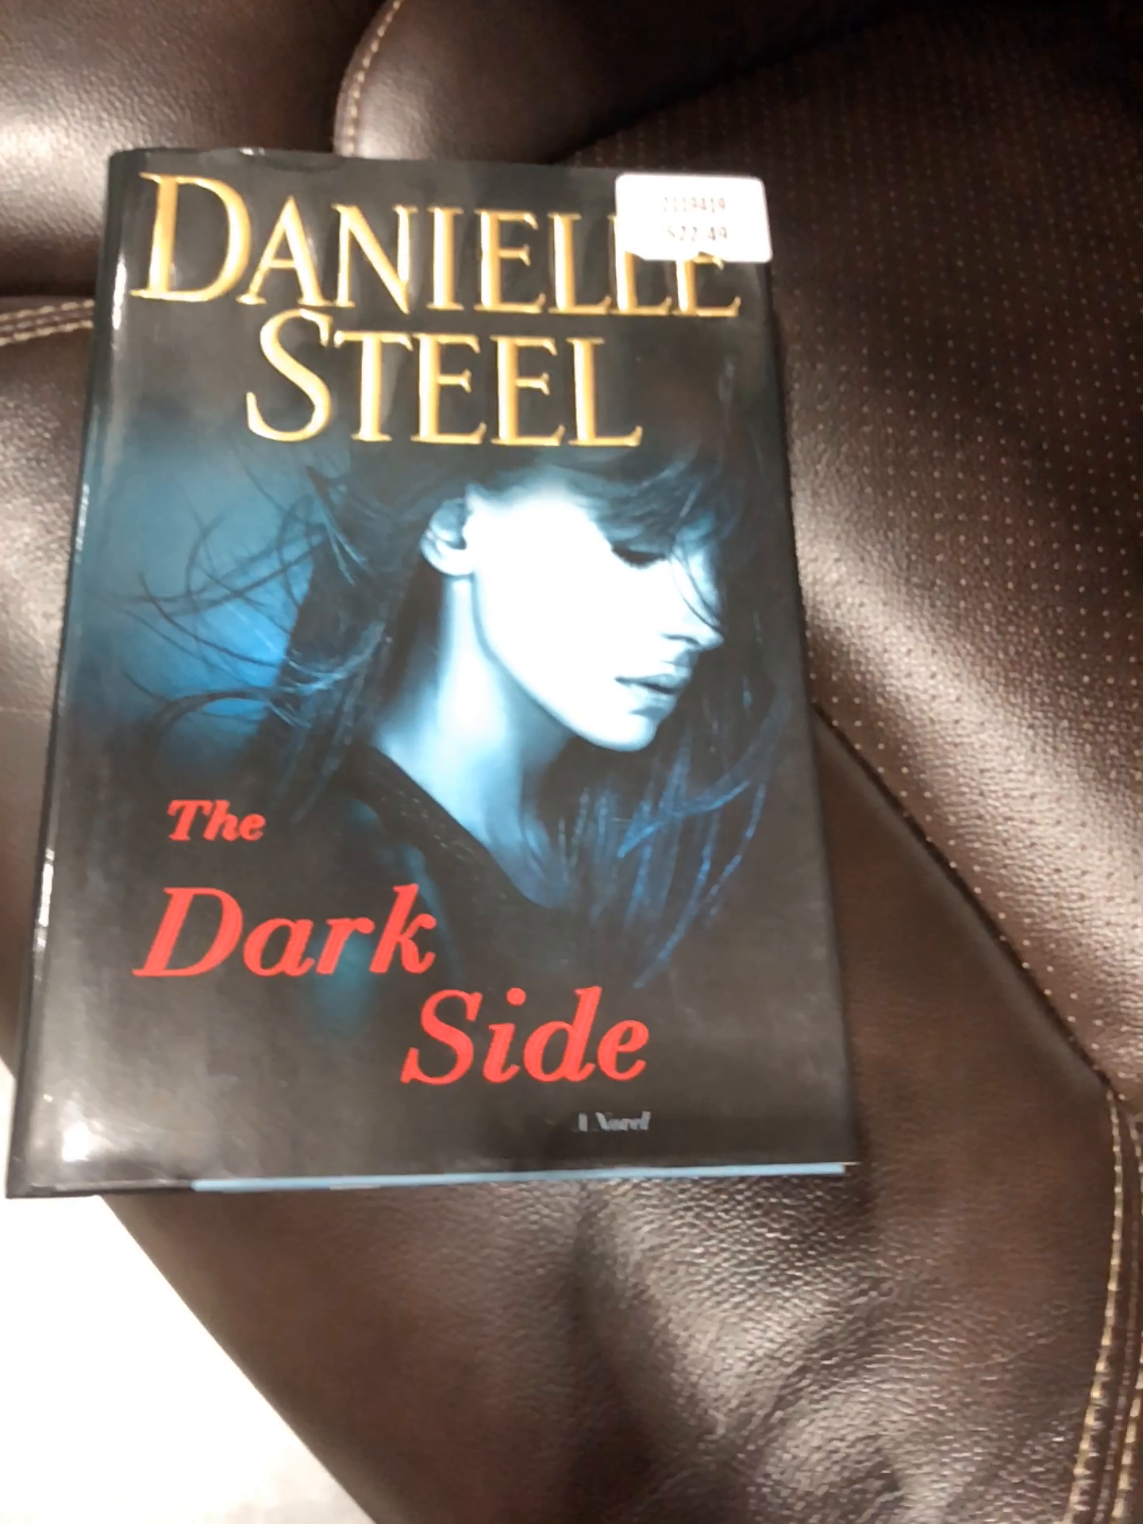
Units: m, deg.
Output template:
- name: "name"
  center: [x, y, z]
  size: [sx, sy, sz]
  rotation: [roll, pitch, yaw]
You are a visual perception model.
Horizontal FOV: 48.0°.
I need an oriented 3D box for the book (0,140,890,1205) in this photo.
- name: "book"
  center: [-0.028, -0.028, 0.293]
  size: [0.168, 0.040, 0.237]
  rotation: [0, 72, -6]
